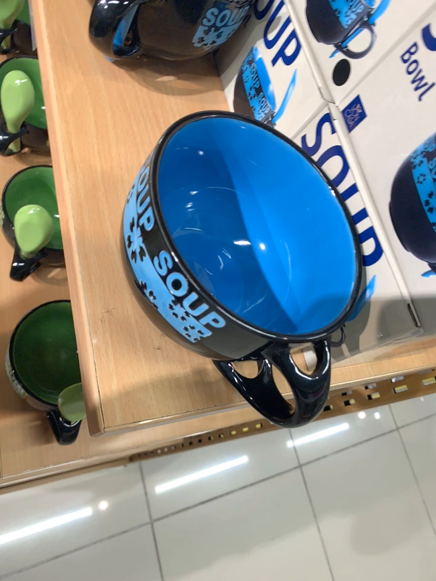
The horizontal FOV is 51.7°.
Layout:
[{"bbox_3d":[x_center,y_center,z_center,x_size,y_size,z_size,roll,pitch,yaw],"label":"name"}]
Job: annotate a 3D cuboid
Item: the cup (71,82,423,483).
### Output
[{"bbox_3d":[0.010,-0.009,0.209,0.100,0.060,0.150,-12,75,-37],"label":"cup"}]
